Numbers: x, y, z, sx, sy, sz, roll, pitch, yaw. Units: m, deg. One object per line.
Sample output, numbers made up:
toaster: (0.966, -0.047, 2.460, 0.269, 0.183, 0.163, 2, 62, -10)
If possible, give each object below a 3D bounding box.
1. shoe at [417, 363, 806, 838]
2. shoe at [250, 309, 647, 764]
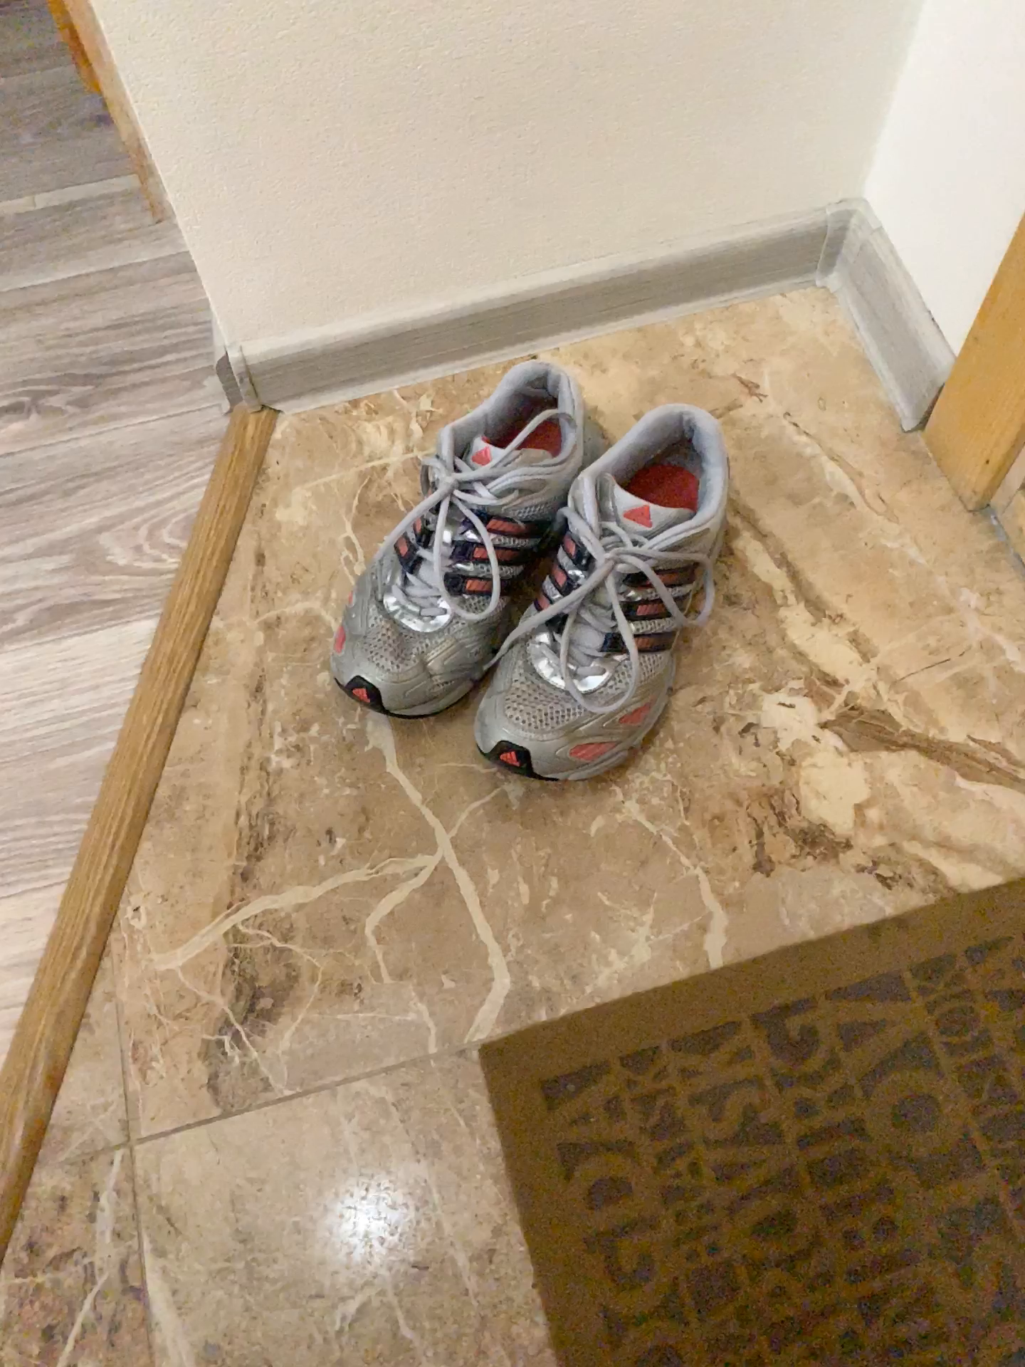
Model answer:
shoe: (0.061, -0.052, 0.605, 0.110, 0.090, 0.240, 26, 68, 15)
shoe: (-0.028, -0.091, 0.626, 0.110, 0.090, 0.240, 27, 68, 15)
